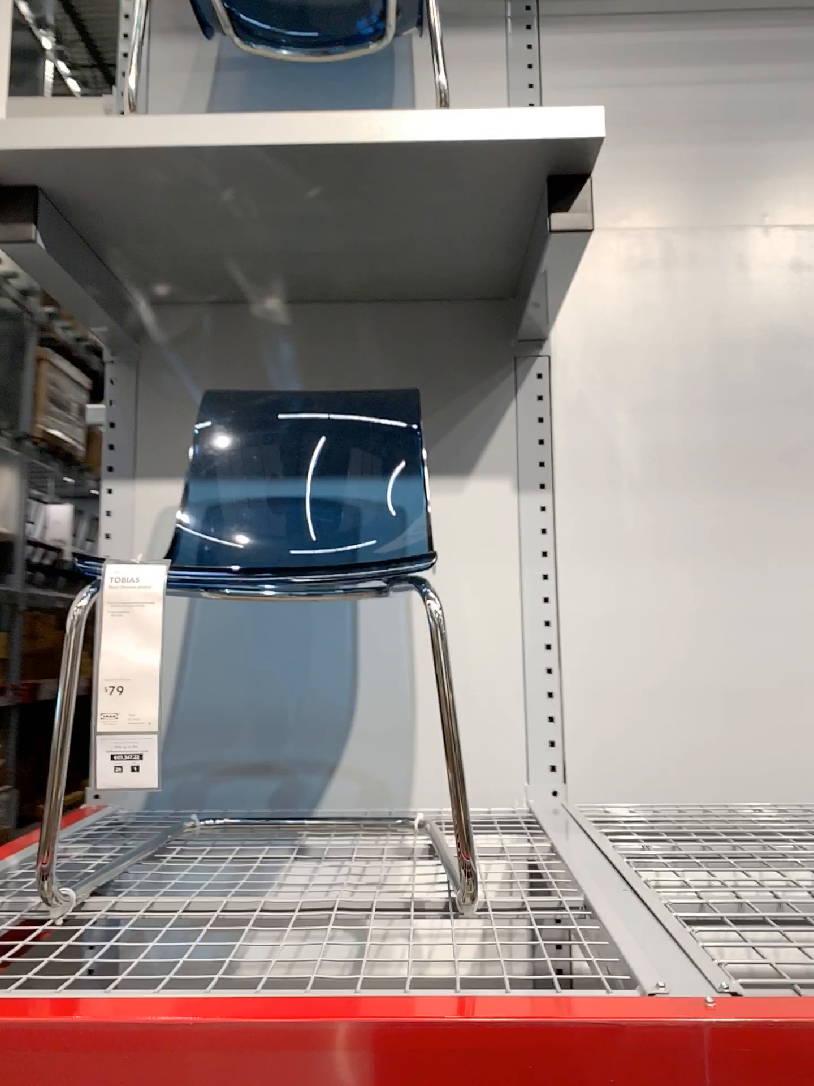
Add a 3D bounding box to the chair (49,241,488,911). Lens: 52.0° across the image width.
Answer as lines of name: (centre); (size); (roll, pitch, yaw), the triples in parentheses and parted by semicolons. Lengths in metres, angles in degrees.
chair: (-0.161, 0.056, 1.329); (0.530, 0.842, 0.549); (-1, -8, 2)
